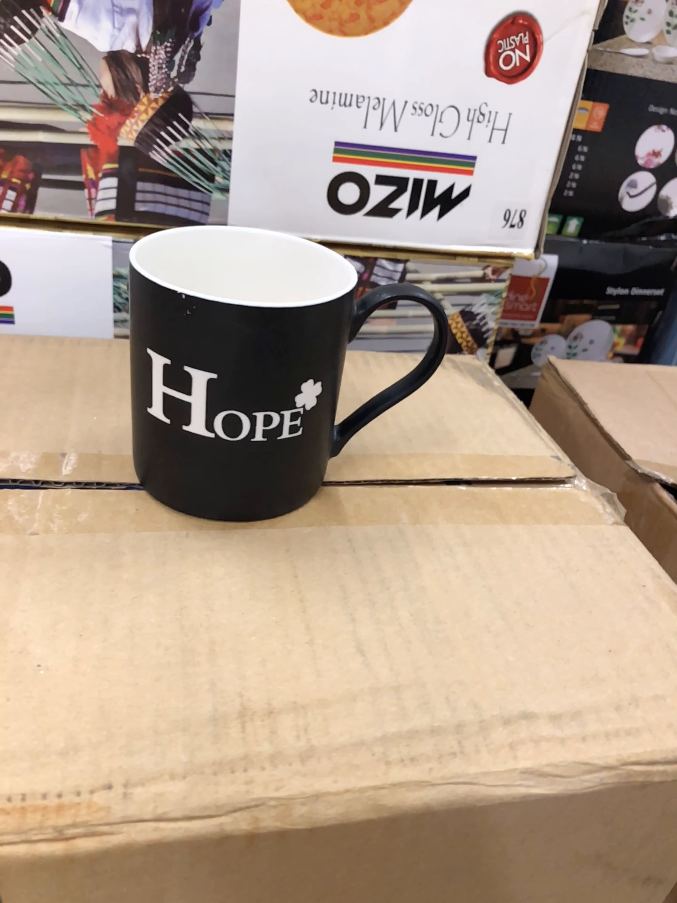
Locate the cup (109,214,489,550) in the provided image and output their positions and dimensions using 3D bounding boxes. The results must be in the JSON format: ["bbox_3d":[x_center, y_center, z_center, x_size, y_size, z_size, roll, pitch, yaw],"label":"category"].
[{"bbox_3d":[-0.025,-0.030,0.293,0.120,0.089,0.090,-1,33,-18],"label":"cup"}]
